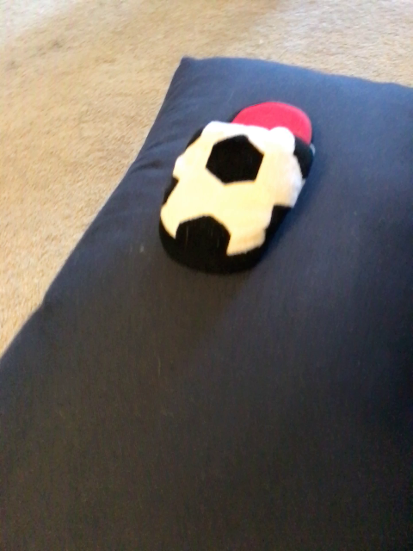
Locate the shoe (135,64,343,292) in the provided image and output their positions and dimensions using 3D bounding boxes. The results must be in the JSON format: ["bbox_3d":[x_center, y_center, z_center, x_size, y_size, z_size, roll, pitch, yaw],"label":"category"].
[{"bbox_3d":[0.041,-0.103,0.422,0.108,0.072,0.214,19,57,18],"label":"shoe"}]
